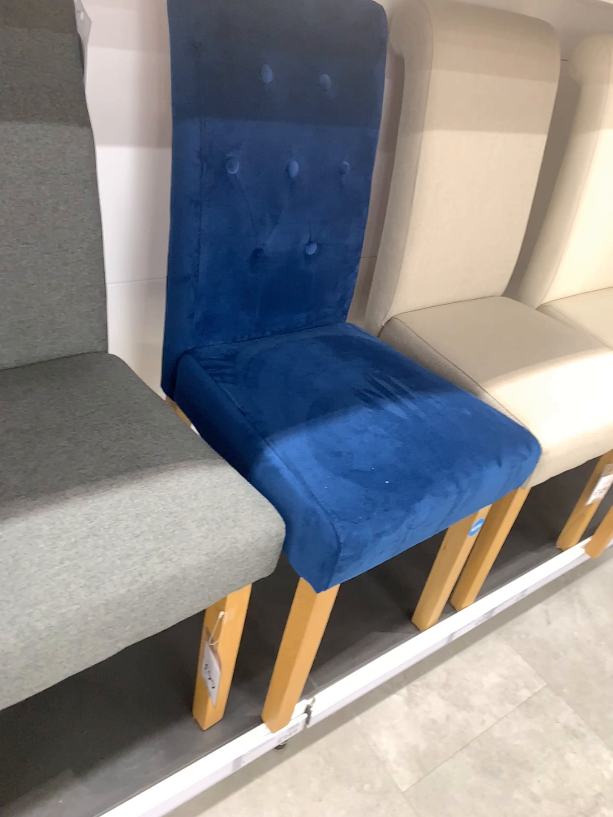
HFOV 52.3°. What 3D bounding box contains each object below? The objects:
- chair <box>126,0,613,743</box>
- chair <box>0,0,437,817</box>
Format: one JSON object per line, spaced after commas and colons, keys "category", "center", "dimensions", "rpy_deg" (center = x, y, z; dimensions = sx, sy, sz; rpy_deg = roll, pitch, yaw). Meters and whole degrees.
{"category": "chair", "center": [0.060, -0.071, 0.949], "dimensions": [0.434, 0.929, 0.522], "rpy_deg": [-15, 43, -36]}
{"category": "chair", "center": [-0.339, -0.004, 0.758], "dimensions": [0.414, 0.890, 0.622], "rpy_deg": [-18, 44, -38]}
